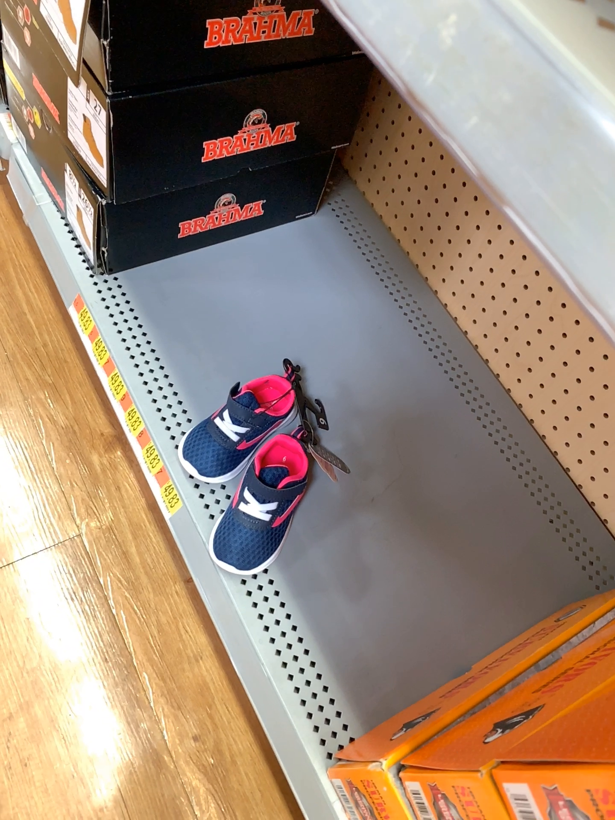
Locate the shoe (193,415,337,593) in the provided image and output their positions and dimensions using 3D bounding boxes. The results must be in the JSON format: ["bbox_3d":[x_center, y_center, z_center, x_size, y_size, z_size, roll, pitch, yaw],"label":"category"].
[{"bbox_3d":[-0.041,0.091,0.622,0.073,0.064,0.146,29,58,2],"label":"shoe"}]

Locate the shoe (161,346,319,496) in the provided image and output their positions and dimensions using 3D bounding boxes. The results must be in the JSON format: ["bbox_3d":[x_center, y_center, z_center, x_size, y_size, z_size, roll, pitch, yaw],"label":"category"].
[{"bbox_3d":[-0.071,0.010,0.660,0.146,0.064,0.073,-36,76,-29],"label":"shoe"}]
